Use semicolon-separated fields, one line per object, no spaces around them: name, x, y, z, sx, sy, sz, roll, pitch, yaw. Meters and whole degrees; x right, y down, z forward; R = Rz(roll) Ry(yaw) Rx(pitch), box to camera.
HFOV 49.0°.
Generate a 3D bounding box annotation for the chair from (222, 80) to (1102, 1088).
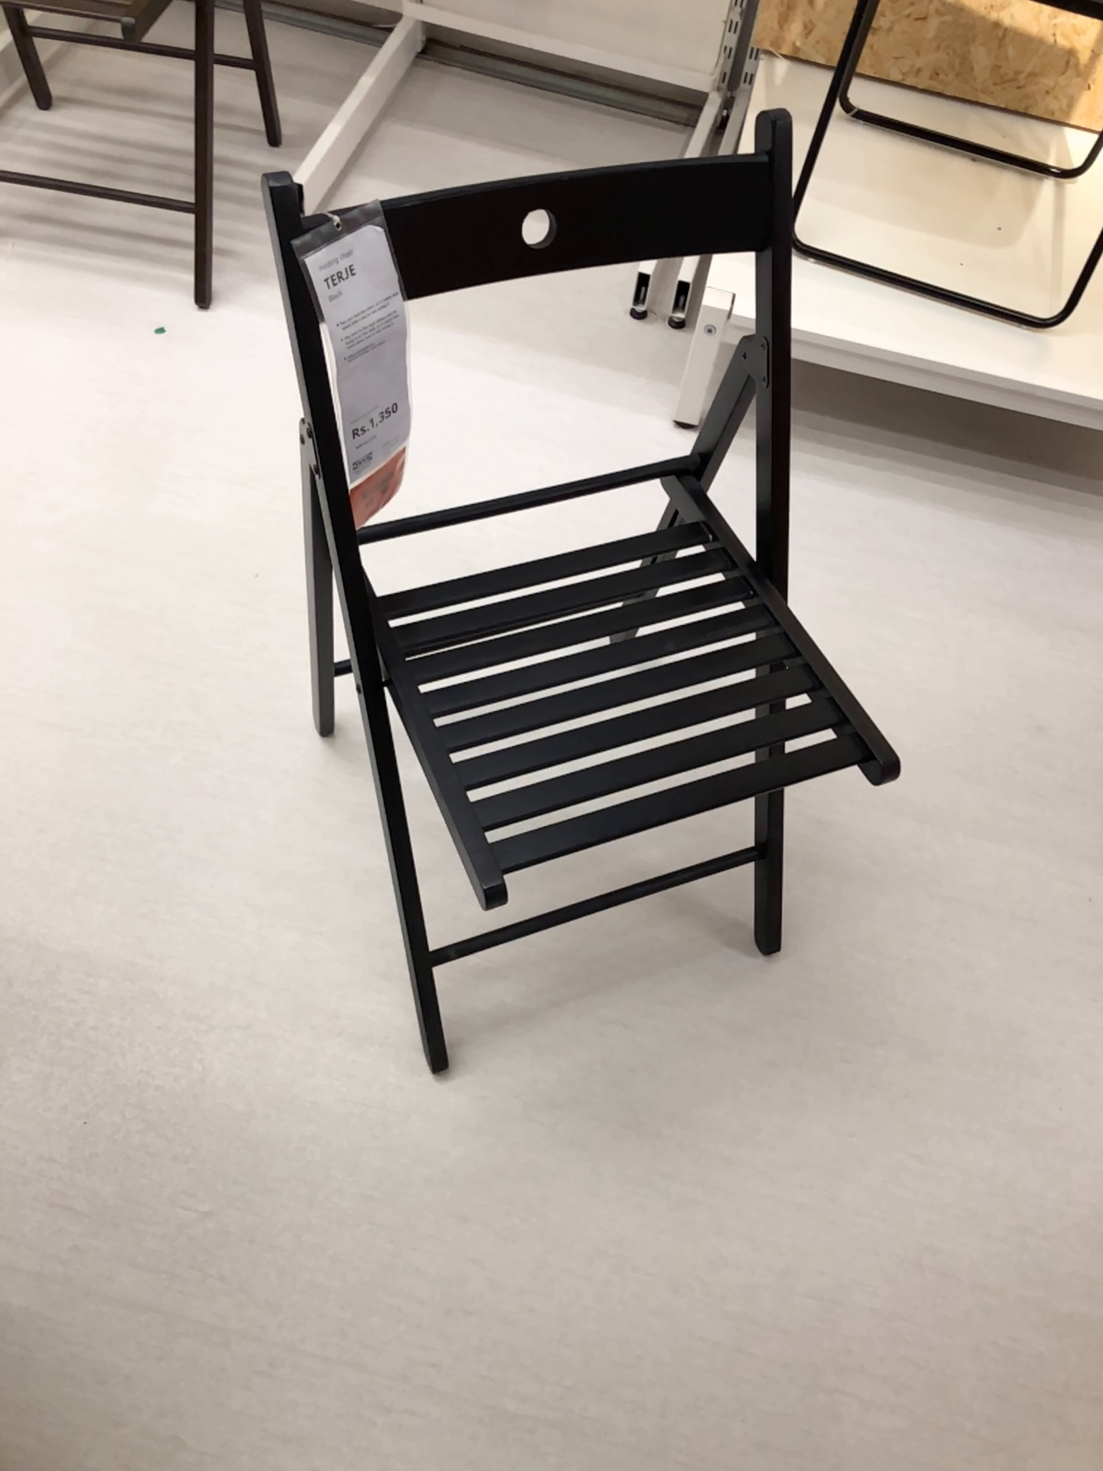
chair;0.019;-0.086;1.107;0.441;0.726;0.482;-15;61;-16
